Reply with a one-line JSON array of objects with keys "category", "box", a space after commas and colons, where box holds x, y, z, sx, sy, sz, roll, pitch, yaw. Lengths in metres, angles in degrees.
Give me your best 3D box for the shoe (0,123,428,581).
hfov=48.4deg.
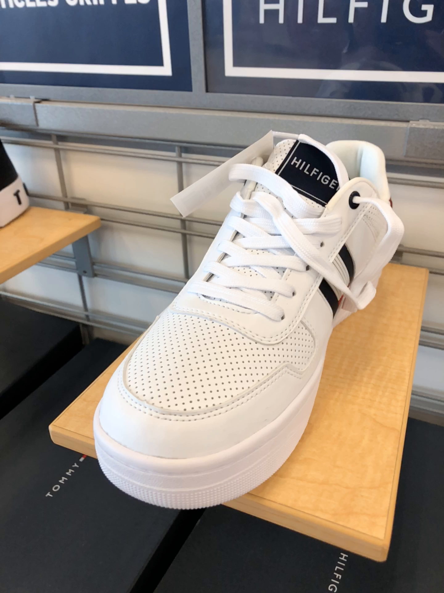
[{"category": "shoe", "box": [0.030, -0.015, 0.291, 0.107, 0.113, 0.282, 14, 33, 26]}]
